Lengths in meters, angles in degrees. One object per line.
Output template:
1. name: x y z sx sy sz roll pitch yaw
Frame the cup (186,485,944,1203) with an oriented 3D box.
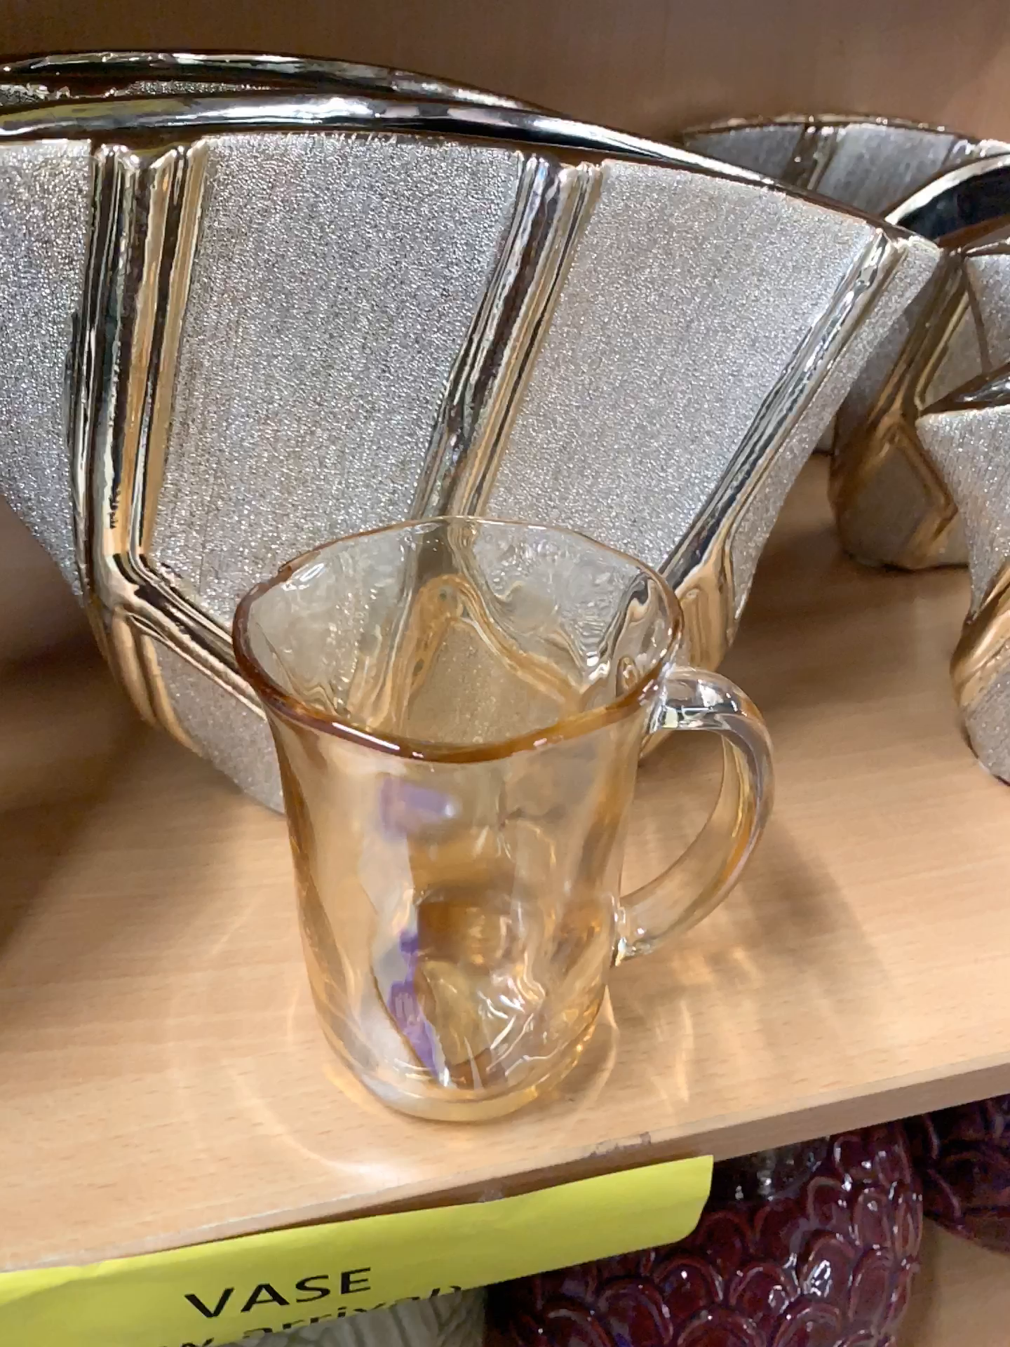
1. cup: 0.003 0.029 0.208 0.110 0.100 0.080 -6 35 -10
